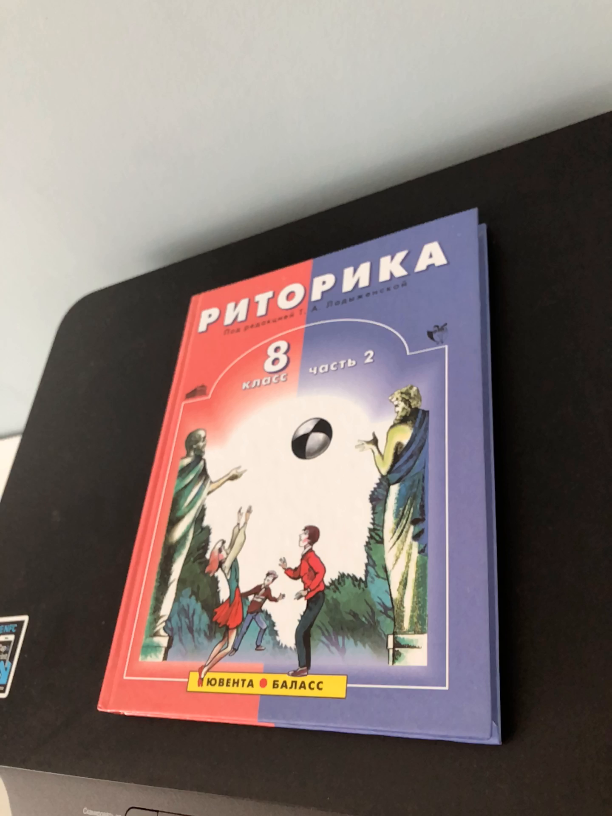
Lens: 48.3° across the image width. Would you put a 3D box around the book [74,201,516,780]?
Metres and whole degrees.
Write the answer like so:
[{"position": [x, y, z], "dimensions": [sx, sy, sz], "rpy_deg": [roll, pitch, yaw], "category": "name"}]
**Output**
[{"position": [-0.003, 0.025, 0.292], "dimensions": [0.170, 0.020, 0.221], "rpy_deg": [-11, 57, 29], "category": "book"}]
